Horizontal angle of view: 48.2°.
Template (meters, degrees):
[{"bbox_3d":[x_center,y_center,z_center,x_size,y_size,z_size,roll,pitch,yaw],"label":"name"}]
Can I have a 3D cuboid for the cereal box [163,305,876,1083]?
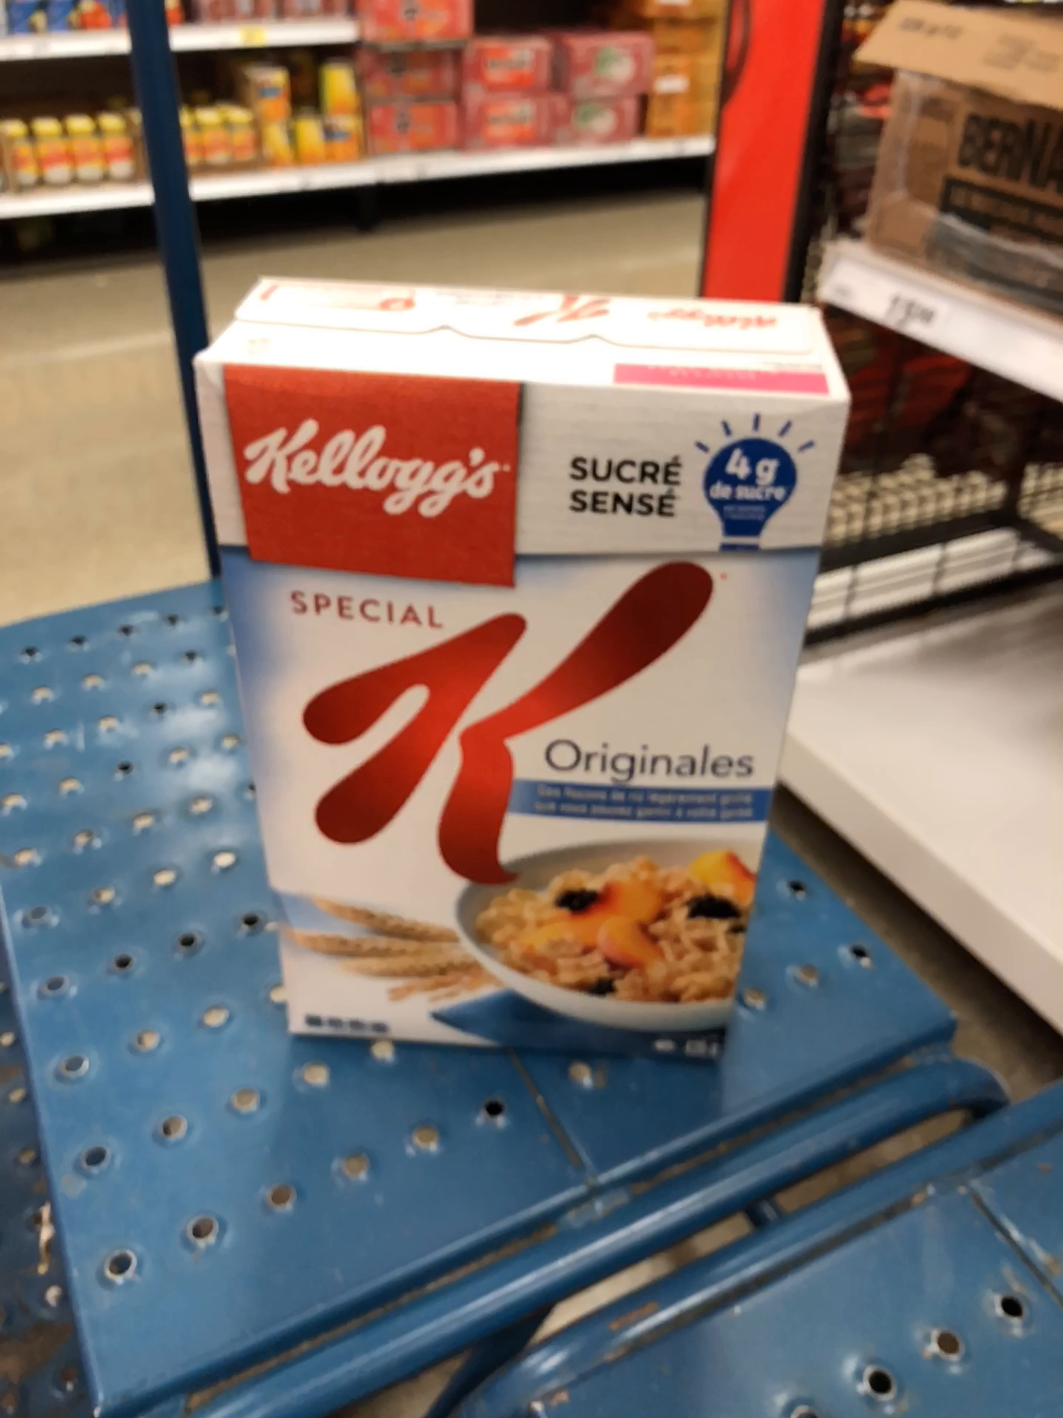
[{"bbox_3d":[-0.005,0.010,0.467,0.210,0.299,0.080,4,35,3],"label":"cereal box"}]
